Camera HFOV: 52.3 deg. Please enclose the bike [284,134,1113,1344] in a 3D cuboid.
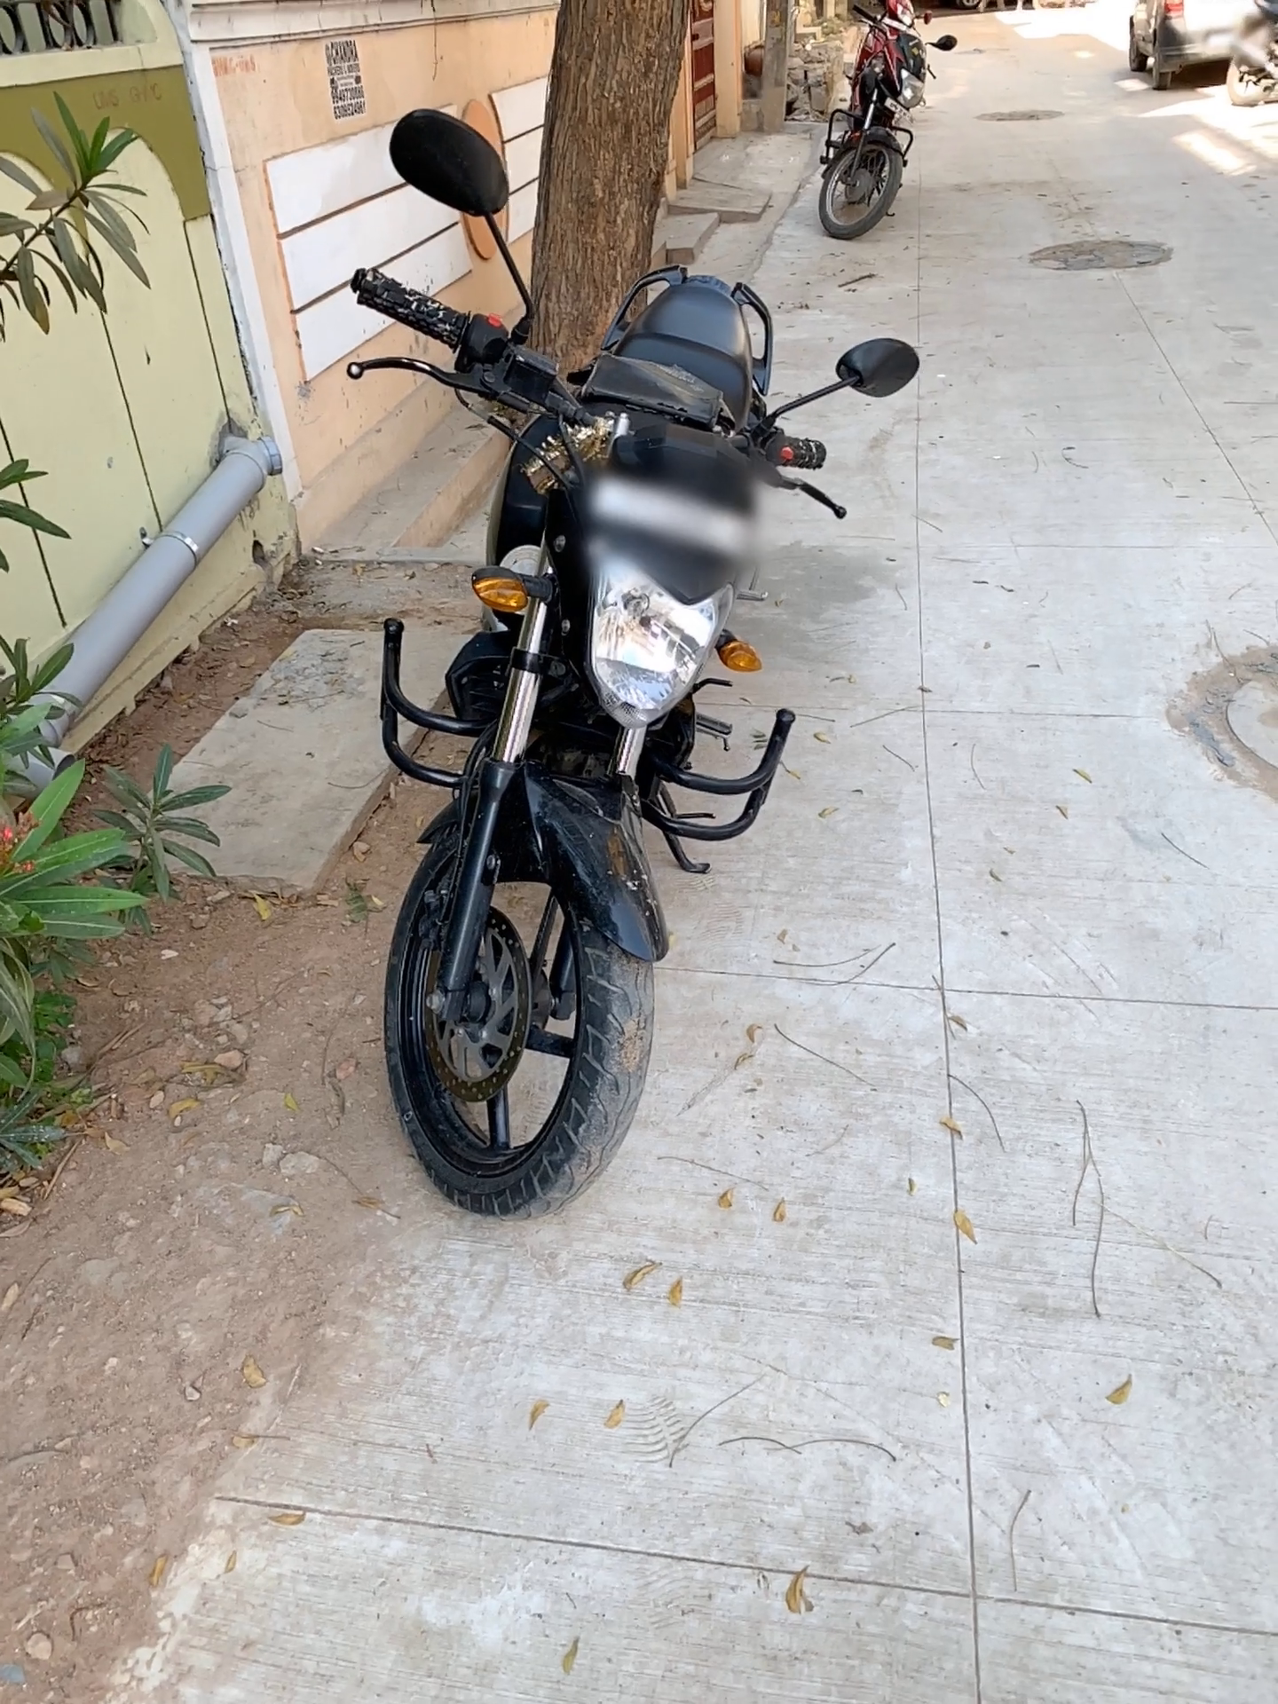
[{"bbox_3d":[0.123,-0.359,2.114,0.746,1.075,1.691,0,37,6],"label":"bike"}]
